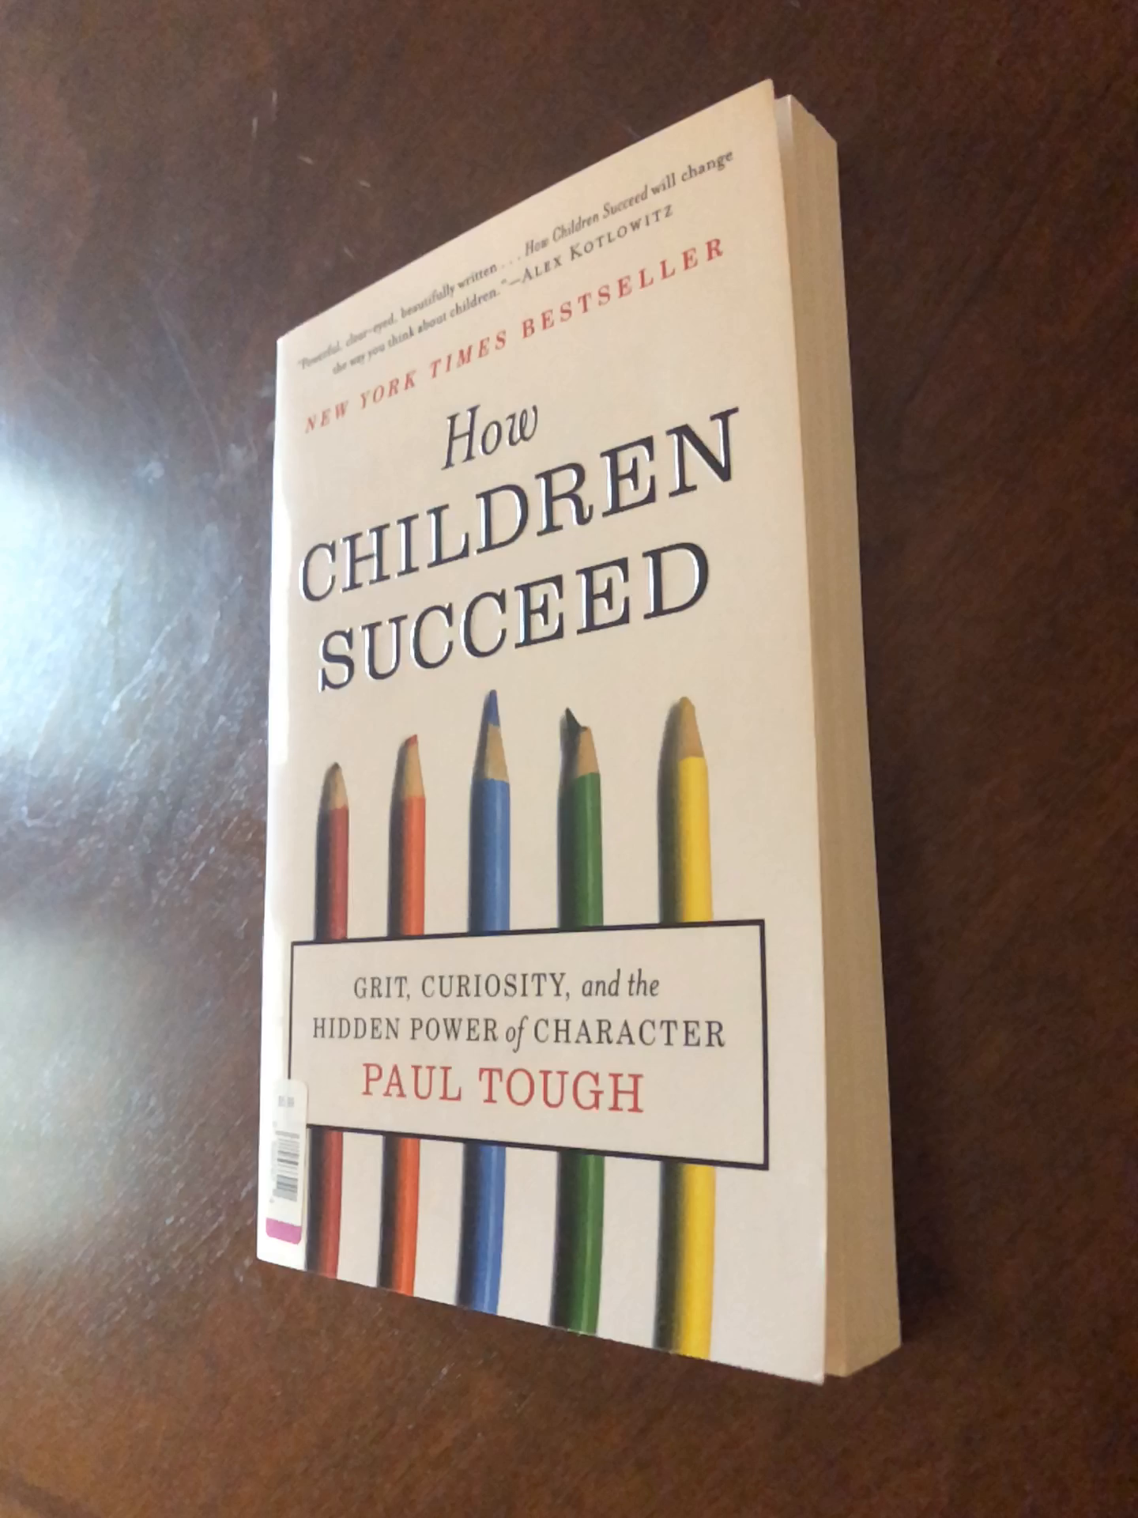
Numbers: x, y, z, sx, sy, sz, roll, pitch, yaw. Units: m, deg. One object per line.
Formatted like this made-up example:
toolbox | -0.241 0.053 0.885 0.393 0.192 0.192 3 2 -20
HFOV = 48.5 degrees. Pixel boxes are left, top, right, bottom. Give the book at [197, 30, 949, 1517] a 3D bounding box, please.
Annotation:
book | -0.011 0.002 0.231 0.141 0.030 0.210 -9 78 39
